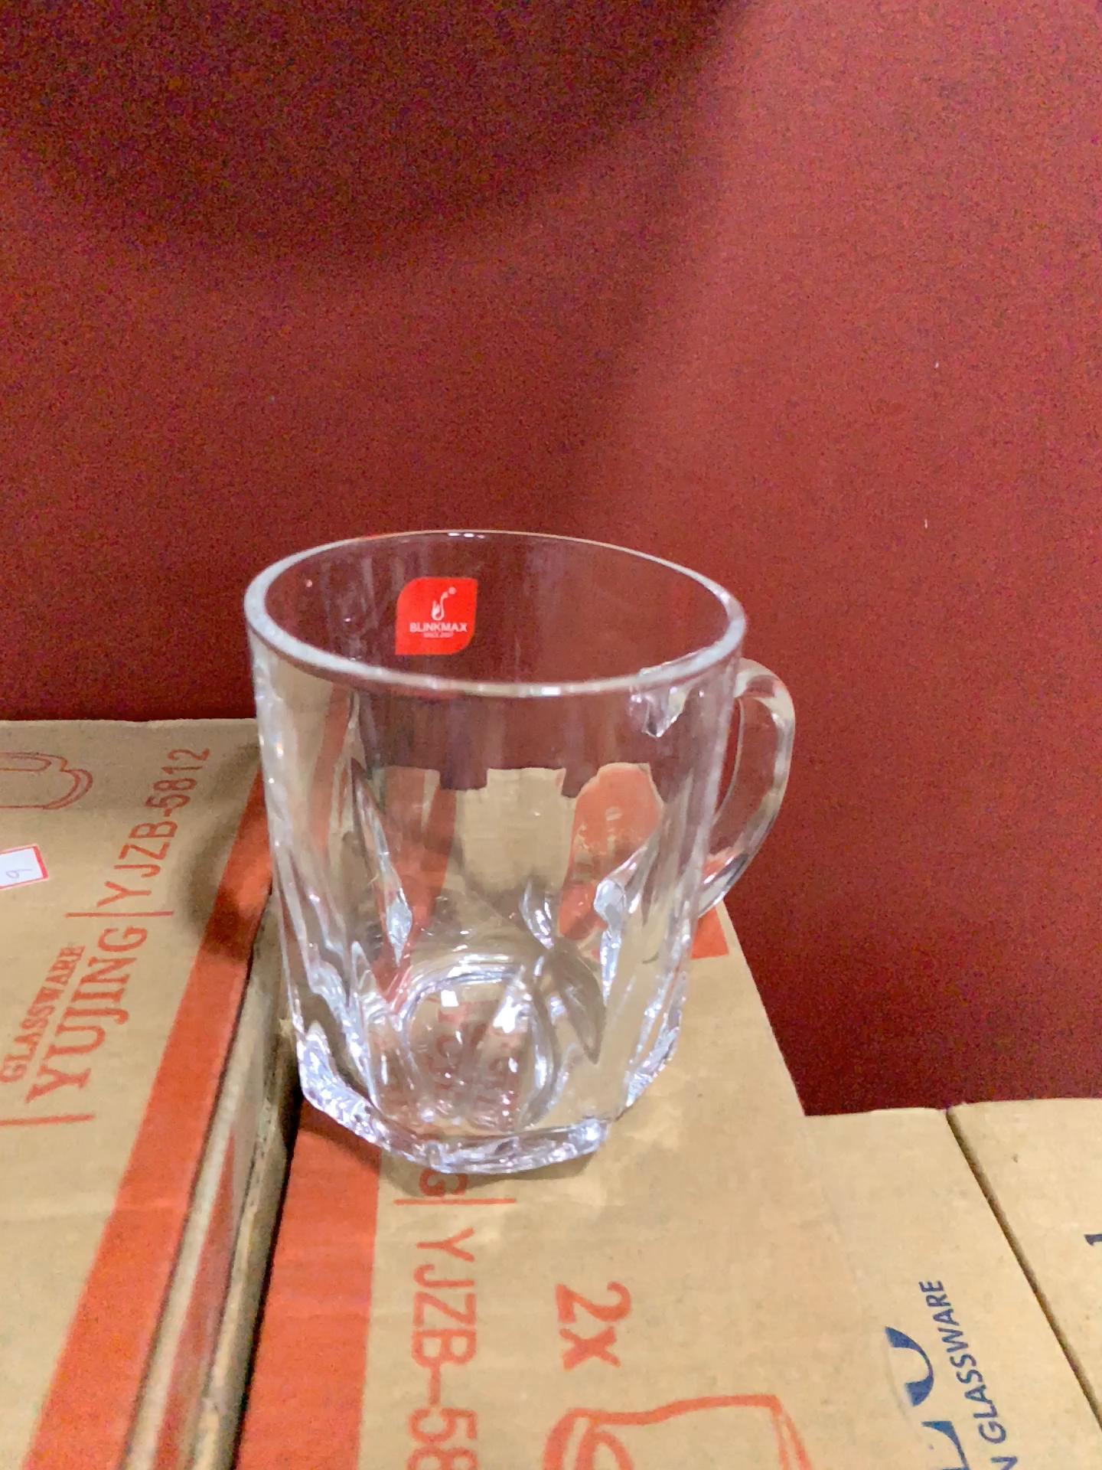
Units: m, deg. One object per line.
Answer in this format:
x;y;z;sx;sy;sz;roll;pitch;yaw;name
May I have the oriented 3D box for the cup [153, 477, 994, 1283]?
0.005;0.009;0.178;0.100;0.071;0.069;-20;32;-38;cup
